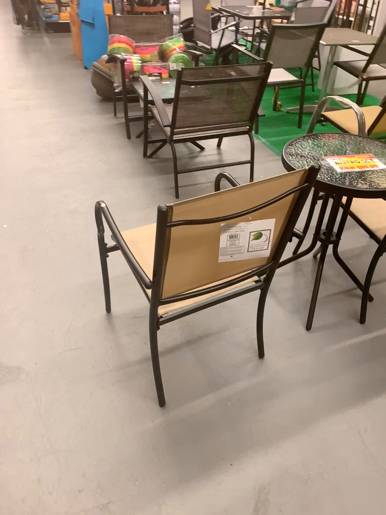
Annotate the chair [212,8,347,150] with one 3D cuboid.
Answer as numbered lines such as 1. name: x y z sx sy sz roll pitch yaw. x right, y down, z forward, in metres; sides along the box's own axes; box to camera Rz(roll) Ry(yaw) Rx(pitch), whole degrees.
1. chair: 0.681 -1.610 3.465 0.675 0.921 0.890 -12 40 -17

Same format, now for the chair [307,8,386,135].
1. chair: 1.701 -1.784 3.692 0.675 0.872 0.890 -12 40 -17

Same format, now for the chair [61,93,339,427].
1. chair: -0.027 -0.016 1.384 0.575 0.862 0.618 -17 42 -22

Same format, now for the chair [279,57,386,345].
1. chair: 0.888 -0.265 1.680 0.615 0.921 0.678 -13 40 -18

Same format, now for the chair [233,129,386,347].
1. chair: 0.556 -0.106 1.655 0.525 0.633 0.548 -13 41 -19

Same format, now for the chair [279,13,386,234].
1. chair: 1.245 -0.907 2.488 0.805 0.981 1.030 -12 40 -17

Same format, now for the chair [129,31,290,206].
1. chair: 0.044 -0.964 2.596 0.675 0.802 0.890 -12 40 -17
